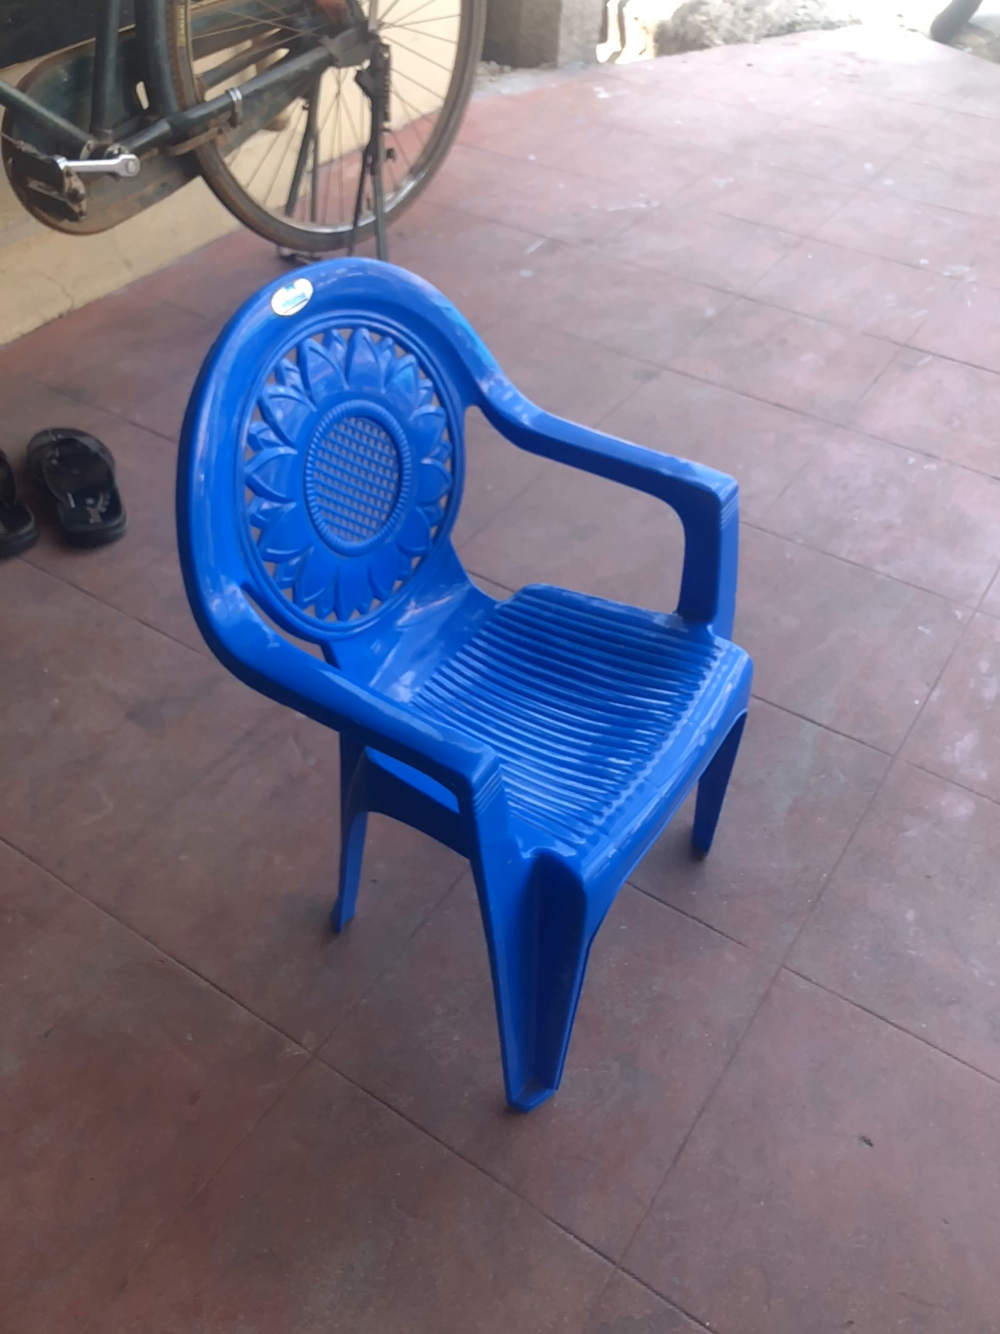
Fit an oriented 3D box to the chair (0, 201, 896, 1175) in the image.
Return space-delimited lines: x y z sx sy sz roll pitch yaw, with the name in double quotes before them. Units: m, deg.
"chair" -0.040 0.003 0.875 0.450 0.498 0.402 26 51 24
